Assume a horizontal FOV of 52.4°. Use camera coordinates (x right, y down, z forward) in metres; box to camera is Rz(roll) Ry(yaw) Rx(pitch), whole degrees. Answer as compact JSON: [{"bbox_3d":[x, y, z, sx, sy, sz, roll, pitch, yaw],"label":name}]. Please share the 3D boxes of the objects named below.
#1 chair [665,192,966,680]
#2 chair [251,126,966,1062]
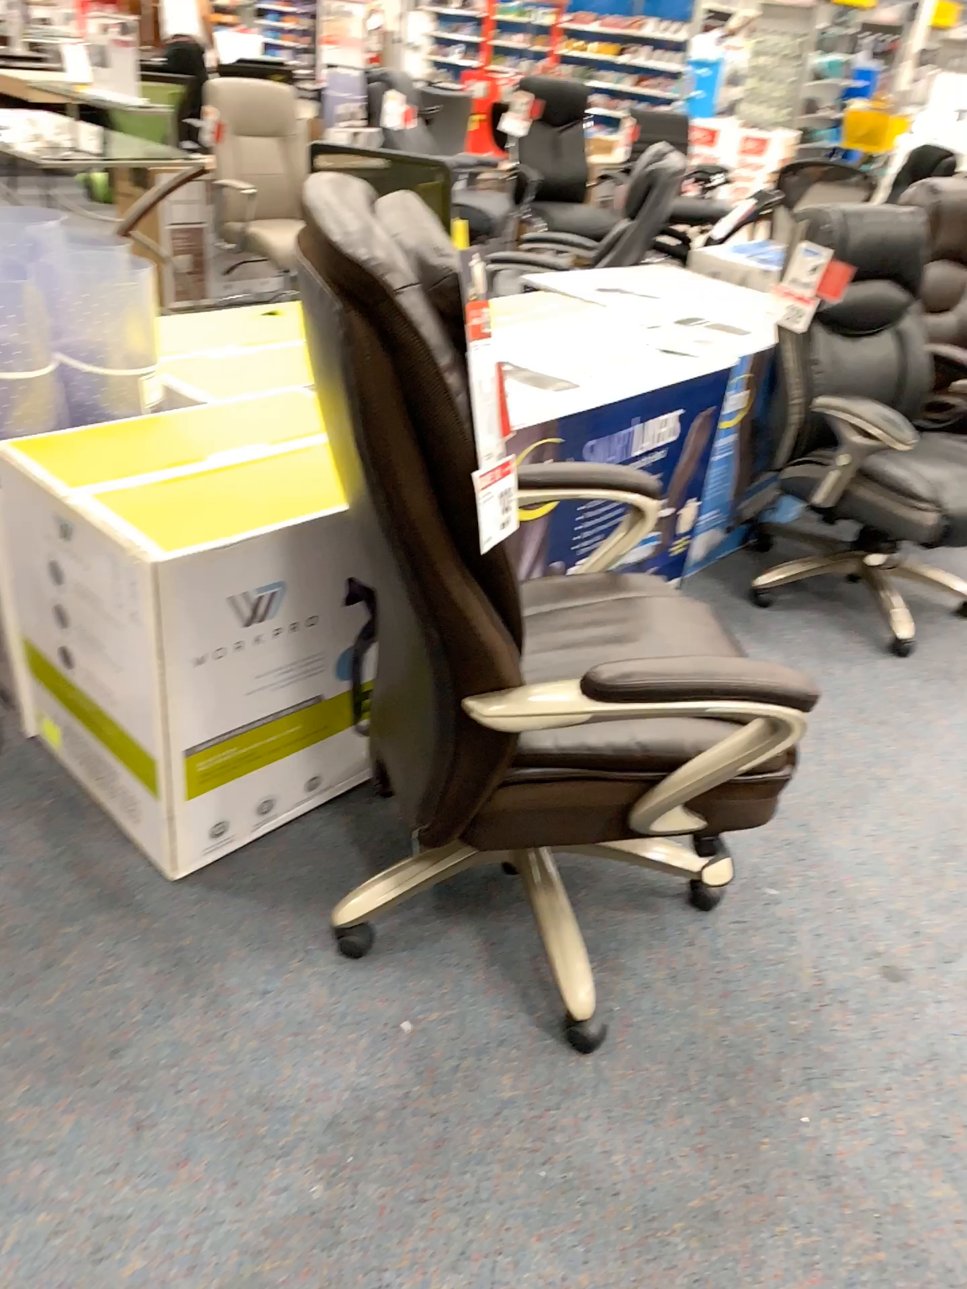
[{"bbox_3d":[1.102,-0.605,2.648,0.703,0.995,0.756,-23,42,-39],"label":"chair"},{"bbox_3d":[0.132,-0.069,1.483,0.844,1.104,0.785,4,32,-8],"label":"chair"}]
